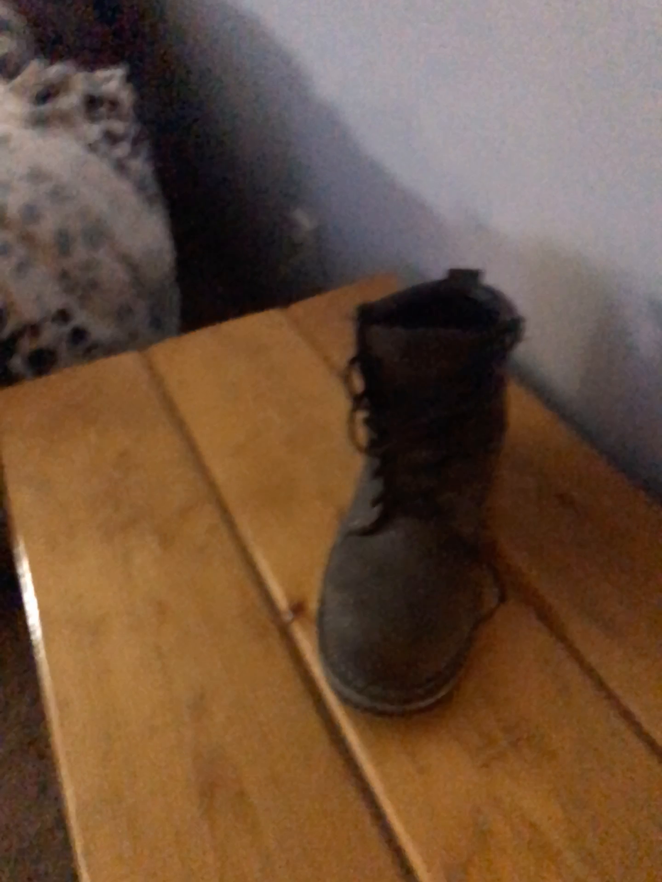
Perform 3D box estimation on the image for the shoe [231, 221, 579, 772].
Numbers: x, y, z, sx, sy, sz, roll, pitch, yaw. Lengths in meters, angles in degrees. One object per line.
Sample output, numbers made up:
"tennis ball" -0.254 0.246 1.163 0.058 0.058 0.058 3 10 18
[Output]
"shoe" 0.074 0.013 0.508 0.130 0.189 0.321 10 44 17
